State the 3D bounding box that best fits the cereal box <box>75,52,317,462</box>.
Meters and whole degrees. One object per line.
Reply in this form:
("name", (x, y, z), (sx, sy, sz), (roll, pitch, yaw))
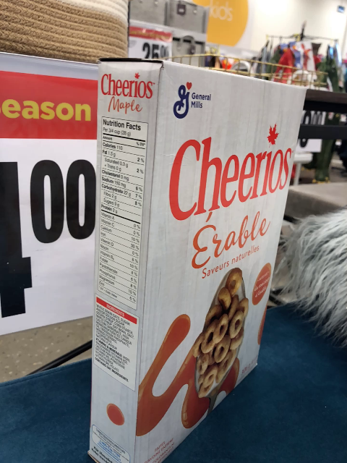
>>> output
("cereal box", (0.026, 0.019, 0.310), (0.060, 0.269, 0.210), (17, 22, 34))
